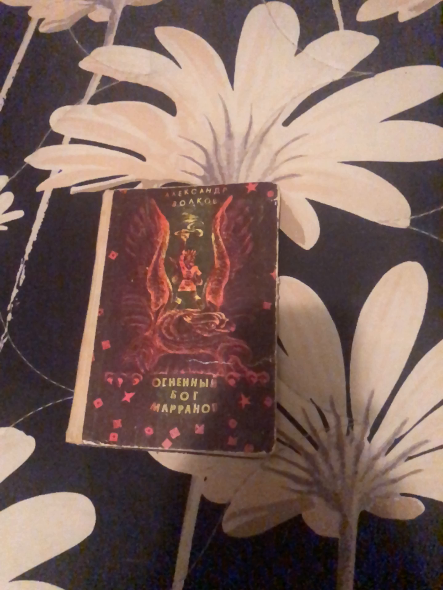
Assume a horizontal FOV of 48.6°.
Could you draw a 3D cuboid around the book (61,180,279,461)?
[{"bbox_3d":[-0.035,0.013,0.381,0.152,0.020,0.211,0,74,10],"label":"book"}]
